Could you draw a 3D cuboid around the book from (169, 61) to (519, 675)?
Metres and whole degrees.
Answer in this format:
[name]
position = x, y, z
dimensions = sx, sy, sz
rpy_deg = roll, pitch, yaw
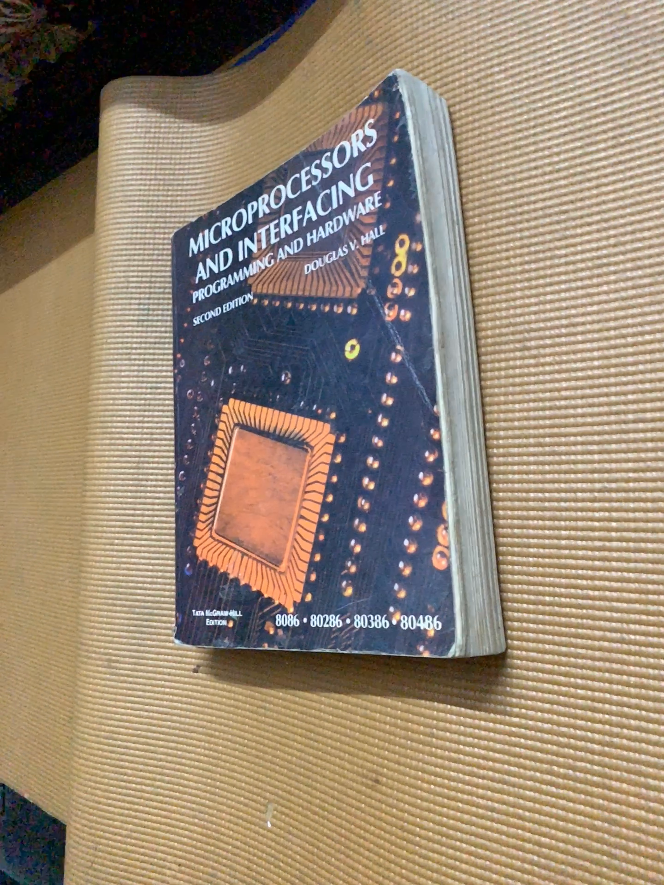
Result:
[book]
position = -0.017, -0.031, 0.477
dimensions = 0.261, 0.060, 0.339
rpy_deg = -13, 76, 45
